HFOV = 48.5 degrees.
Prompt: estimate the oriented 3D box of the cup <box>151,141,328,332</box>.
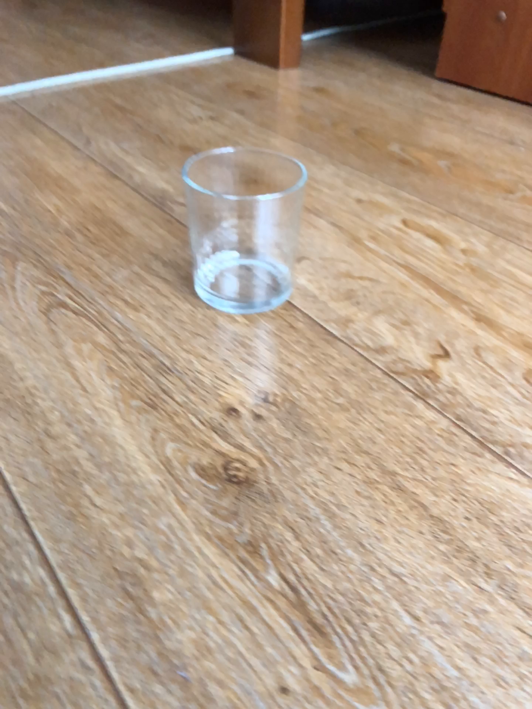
[{"bbox_3d":[-0.015,-0.079,0.378,0.075,0.079,0.078,1,39,-1],"label":"cup"}]
